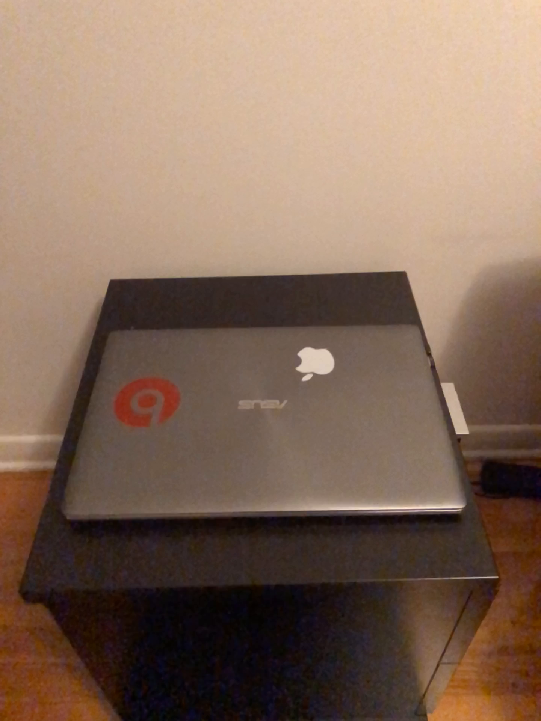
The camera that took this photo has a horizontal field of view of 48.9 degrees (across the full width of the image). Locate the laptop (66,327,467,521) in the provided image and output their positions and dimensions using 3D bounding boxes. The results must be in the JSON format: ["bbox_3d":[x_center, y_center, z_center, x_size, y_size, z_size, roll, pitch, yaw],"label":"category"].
[{"bbox_3d":[-0.007,0.056,0.645,0.373,0.010,0.250,-1,45,1],"label":"laptop"}]
